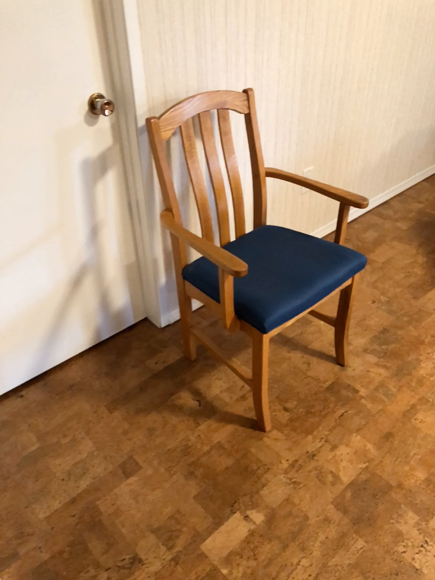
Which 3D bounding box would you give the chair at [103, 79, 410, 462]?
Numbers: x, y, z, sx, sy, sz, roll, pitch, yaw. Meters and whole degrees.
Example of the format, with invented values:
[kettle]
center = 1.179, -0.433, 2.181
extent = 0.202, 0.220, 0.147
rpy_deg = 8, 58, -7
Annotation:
[chair]
center = 0.105, -0.082, 1.540
extent = 0.551, 0.937, 0.591
rpy_deg = -31, 46, -34
